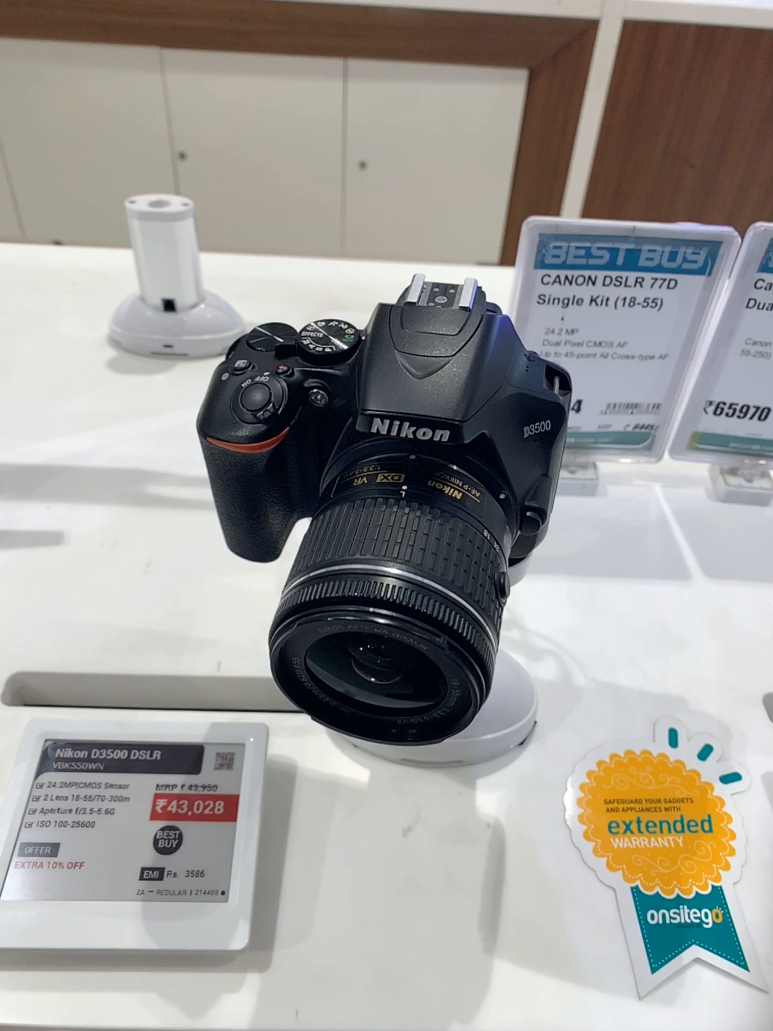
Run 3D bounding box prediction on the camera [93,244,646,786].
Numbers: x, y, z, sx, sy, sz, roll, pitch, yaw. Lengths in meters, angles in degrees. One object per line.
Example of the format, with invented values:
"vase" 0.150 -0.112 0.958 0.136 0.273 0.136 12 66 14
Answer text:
"camera" 0.001 -0.004 0.224 0.110 0.090 0.103 9 43 5
